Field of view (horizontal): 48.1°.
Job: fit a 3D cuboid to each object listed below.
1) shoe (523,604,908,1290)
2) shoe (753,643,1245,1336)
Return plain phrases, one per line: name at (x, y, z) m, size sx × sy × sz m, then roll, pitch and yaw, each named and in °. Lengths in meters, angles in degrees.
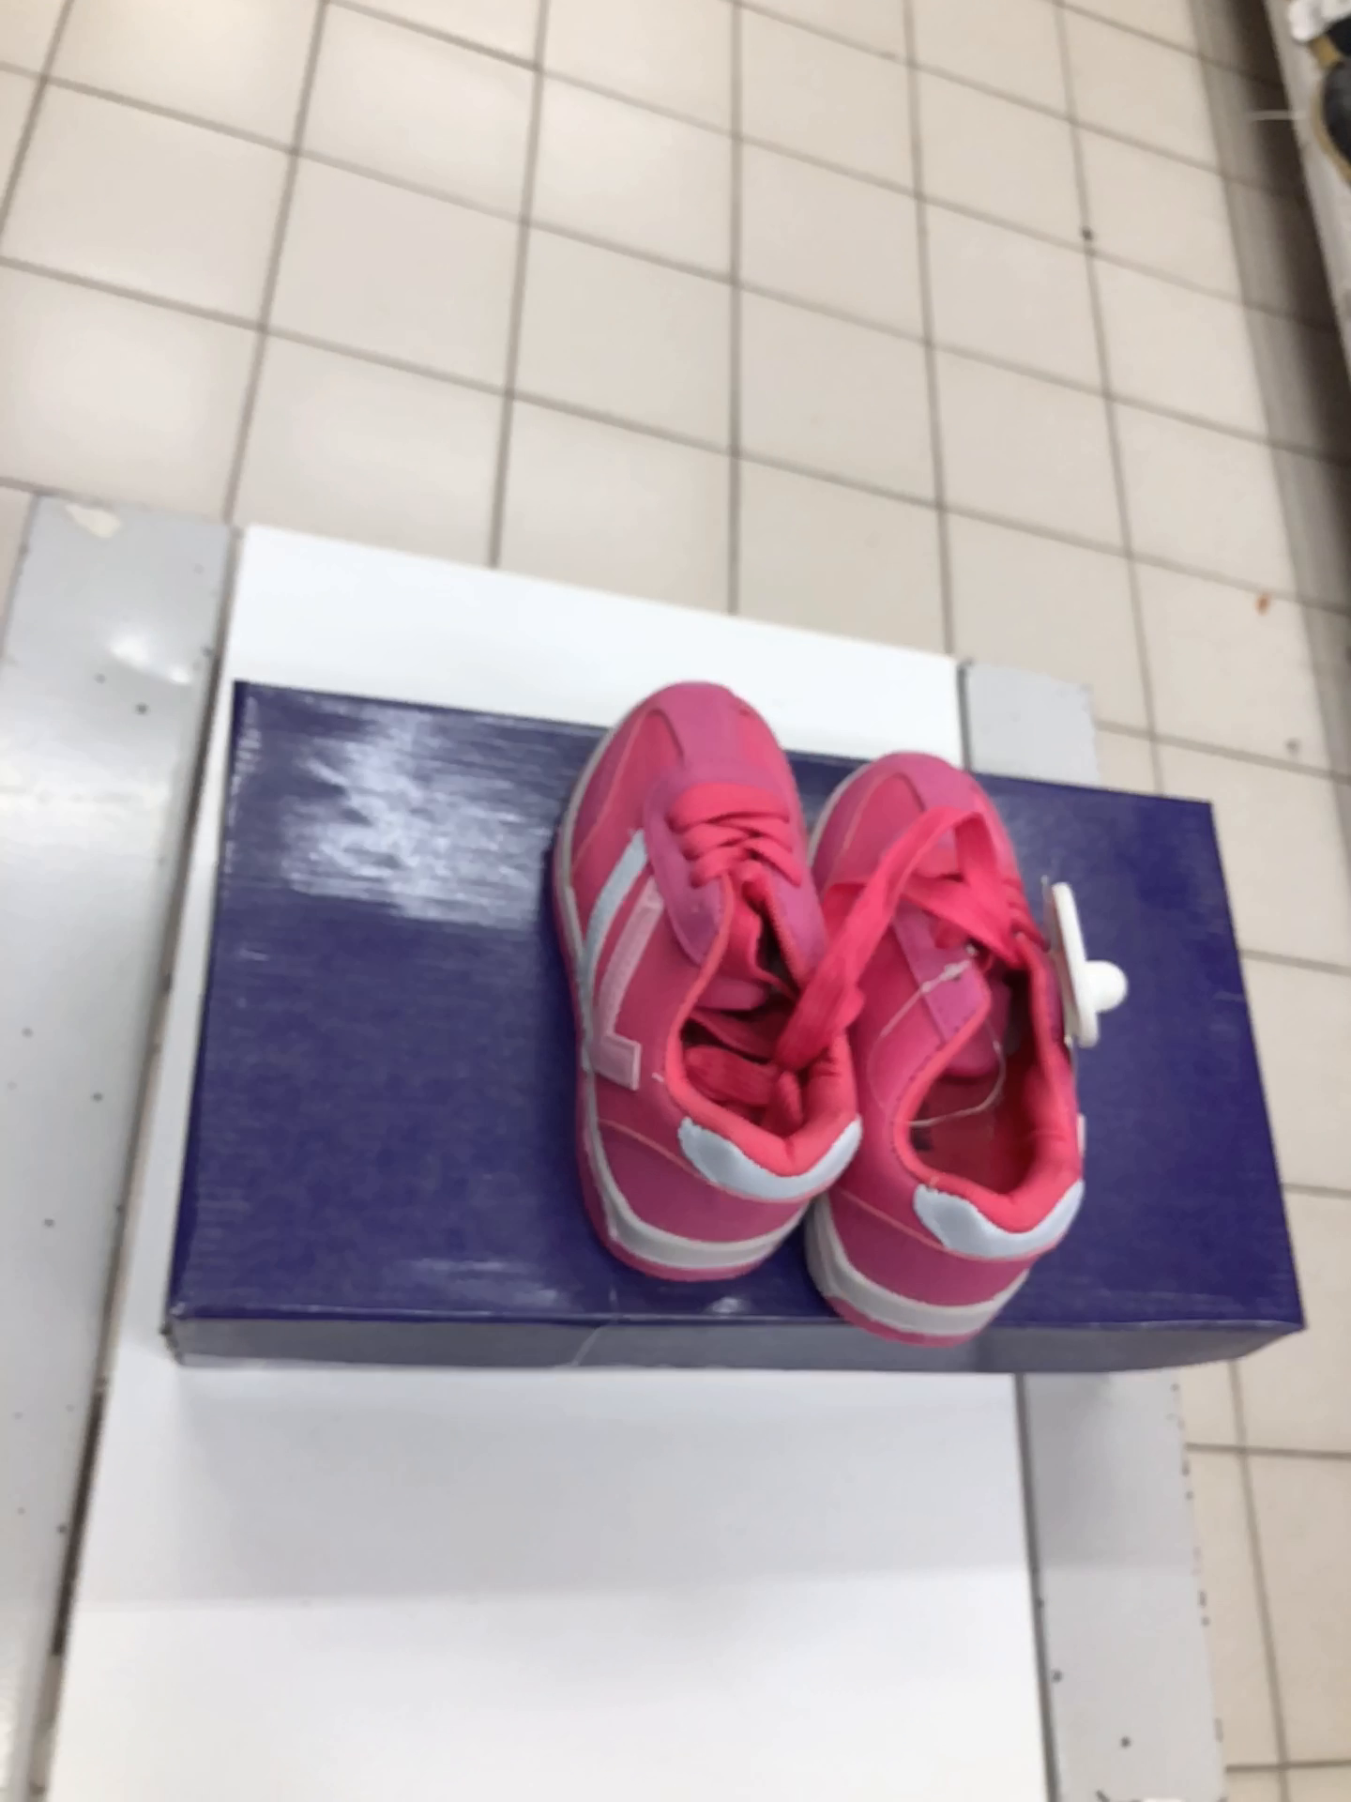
shoe at (0.005, 0.016, 0.415) m, size 0.070 × 0.089 × 0.160 m, roll 7°, pitch 64°, yaw -18°
shoe at (0.078, 0.028, 0.411) m, size 0.080 × 0.089 × 0.160 m, roll 7°, pitch 64°, yaw -18°
